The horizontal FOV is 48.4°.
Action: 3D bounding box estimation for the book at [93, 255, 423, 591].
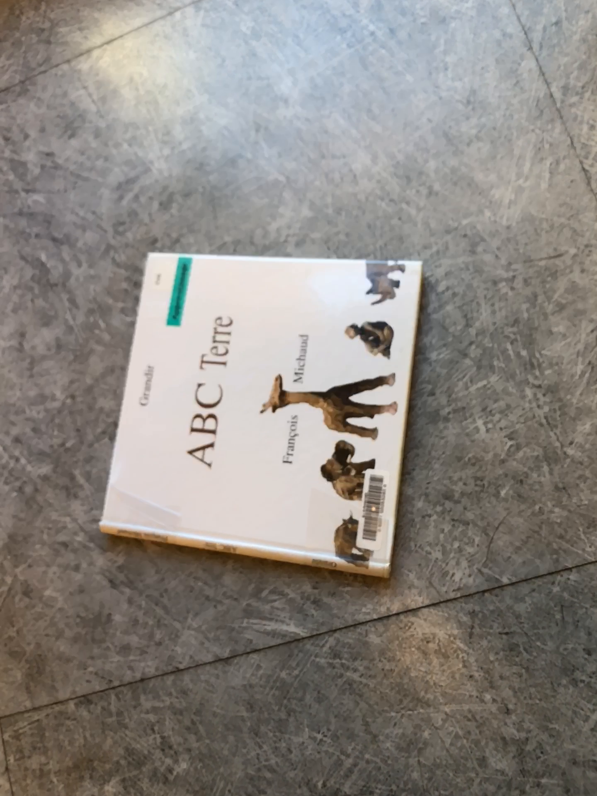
[{"bbox_3d":[-0.027,0.007,0.437,0.194,0.020,0.200,5,80,16],"label":"book"}]
